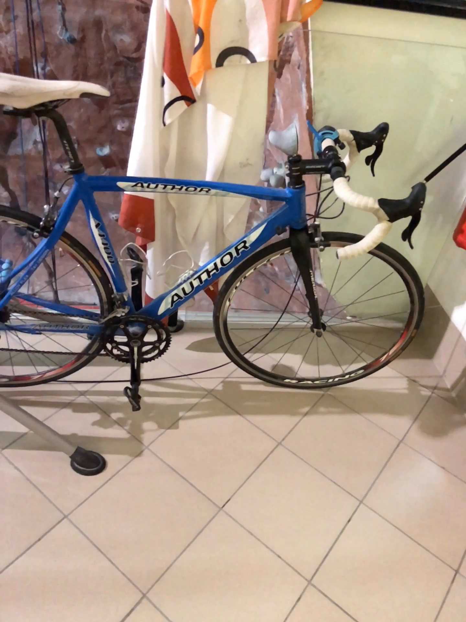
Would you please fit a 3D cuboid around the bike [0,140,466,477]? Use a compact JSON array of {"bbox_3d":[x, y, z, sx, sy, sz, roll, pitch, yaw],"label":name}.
[{"bbox_3d":[-0.192,0.059,1.483,1.552,0.682,0.468,5,39,-12],"label":"bike"}]
